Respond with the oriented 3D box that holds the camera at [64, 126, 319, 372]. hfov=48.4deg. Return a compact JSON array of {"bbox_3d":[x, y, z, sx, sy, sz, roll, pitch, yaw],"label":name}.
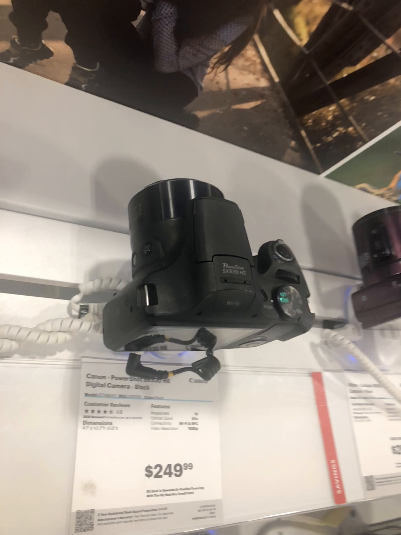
[{"bbox_3d":[-0.009,-0.003,0.264,0.121,0.070,0.110,5,66,-31],"label":"camera"}]
